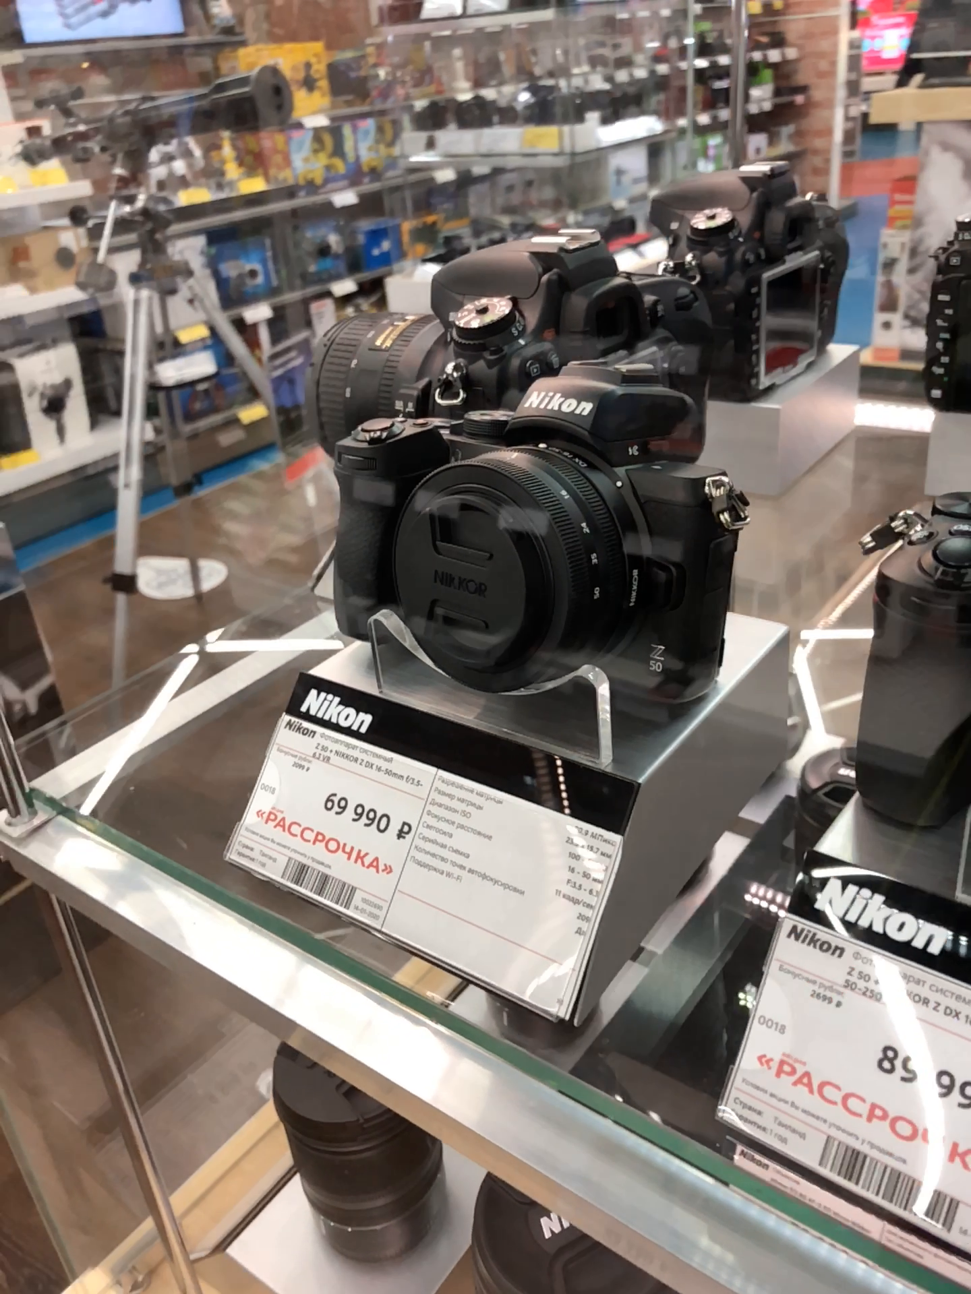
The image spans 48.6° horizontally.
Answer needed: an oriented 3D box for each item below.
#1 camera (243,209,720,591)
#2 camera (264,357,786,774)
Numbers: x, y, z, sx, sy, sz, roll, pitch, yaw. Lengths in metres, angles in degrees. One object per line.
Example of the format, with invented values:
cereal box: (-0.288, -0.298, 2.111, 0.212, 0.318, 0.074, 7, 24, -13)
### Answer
camera: (0.001, -0.119, 0.473, 0.150, 0.111, 0.130, 21, 38, 35)
camera: (0.010, -0.036, 0.334, 0.127, 0.092, 0.090, 16, 24, 35)
